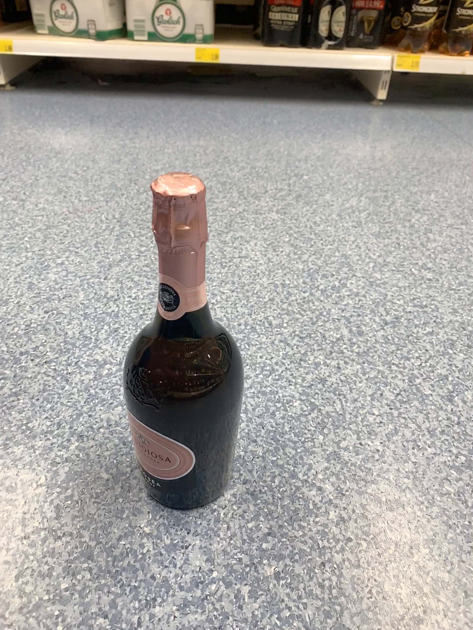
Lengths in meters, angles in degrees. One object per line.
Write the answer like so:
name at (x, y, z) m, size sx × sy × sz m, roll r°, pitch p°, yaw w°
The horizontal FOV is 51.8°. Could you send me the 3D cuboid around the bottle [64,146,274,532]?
bottle at (-0.045, 0.029, 0.362) m, size 0.094 × 0.268 × 0.079 m, roll 28°, pitch 43°, yaw 31°
